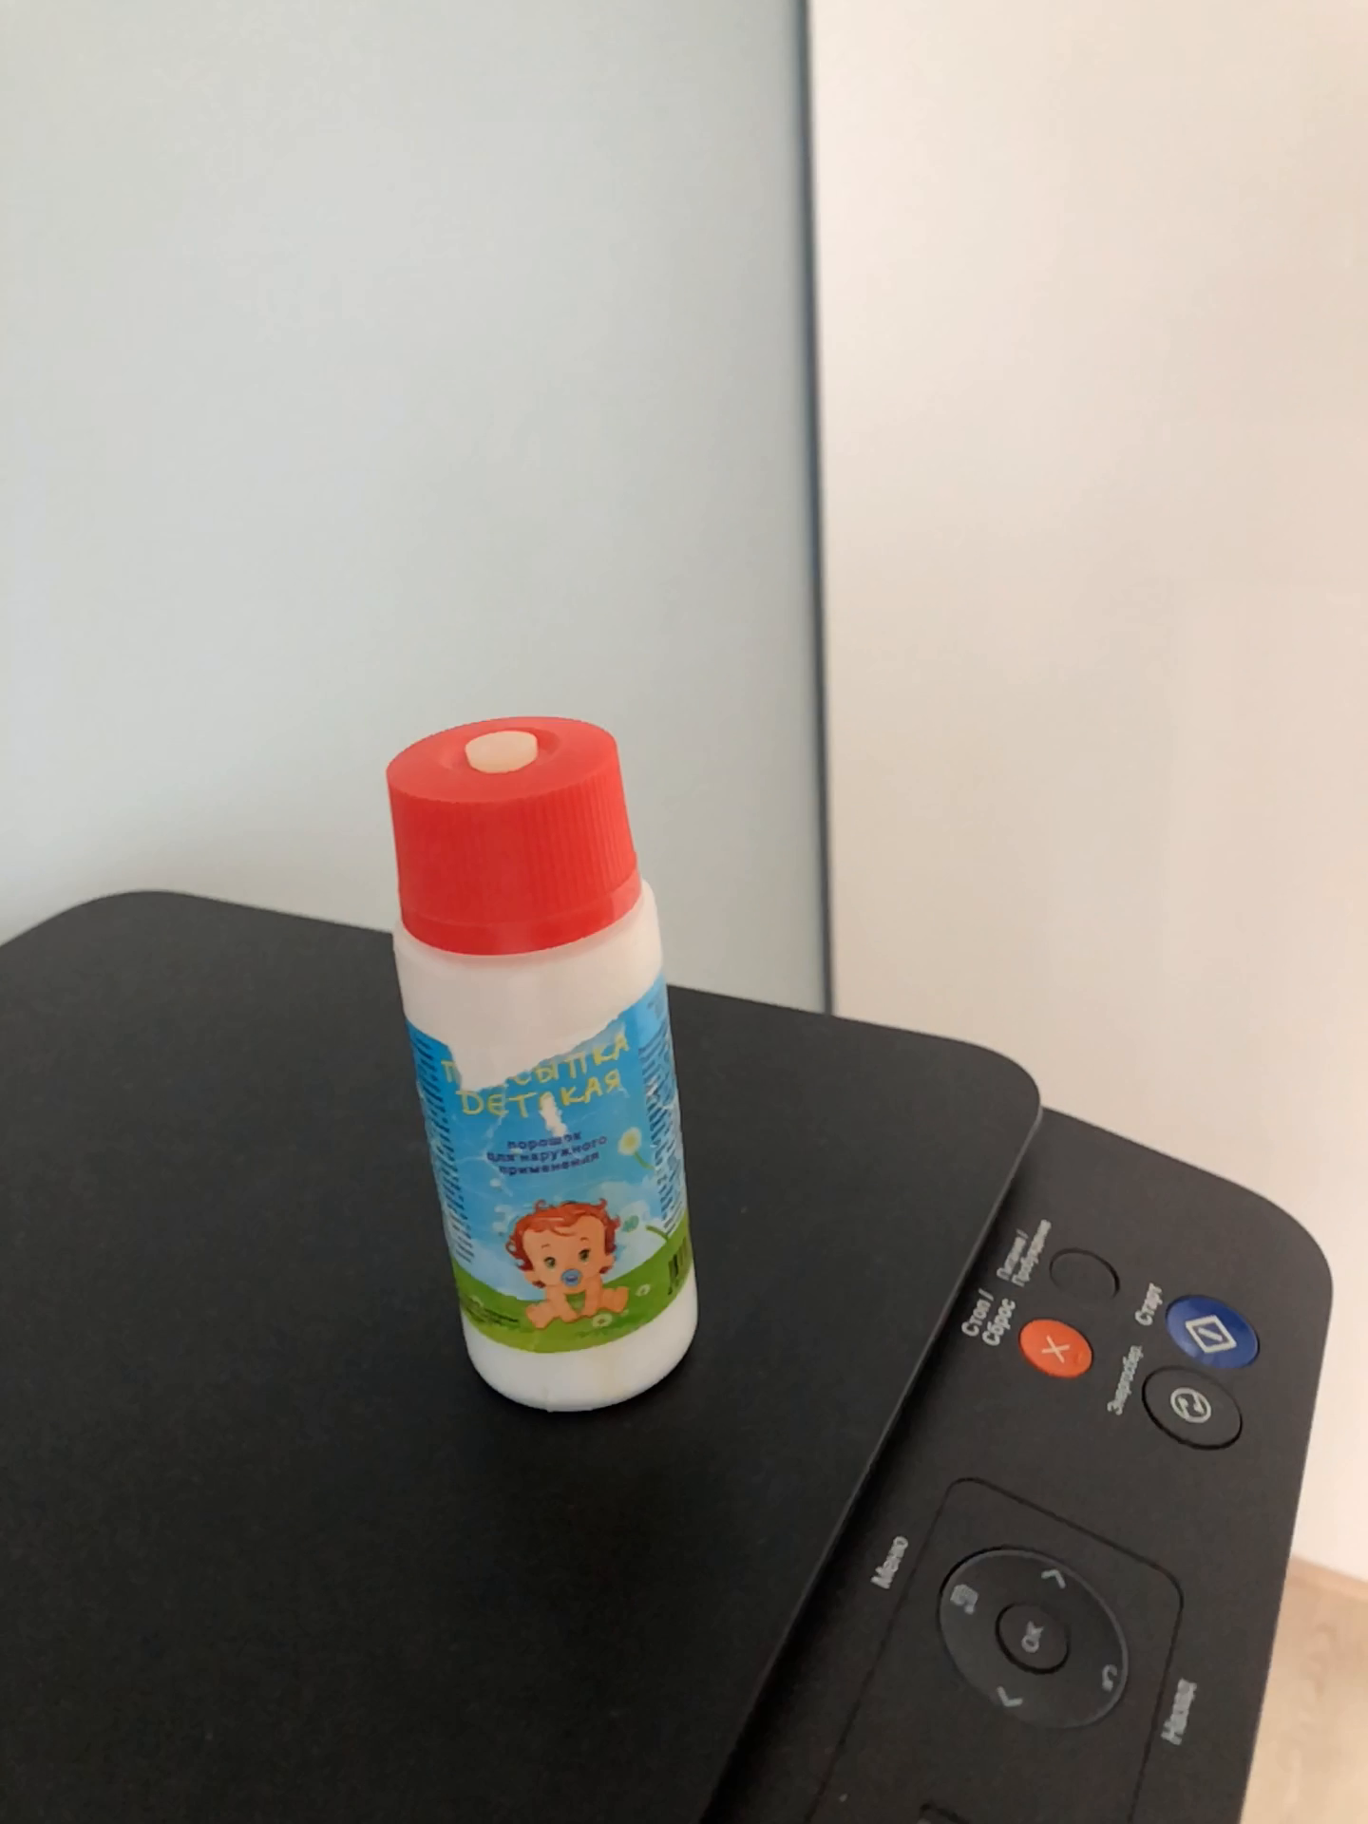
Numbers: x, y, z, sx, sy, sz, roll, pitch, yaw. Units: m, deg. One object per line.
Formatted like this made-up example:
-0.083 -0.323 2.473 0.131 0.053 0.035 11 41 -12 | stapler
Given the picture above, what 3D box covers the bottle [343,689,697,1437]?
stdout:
-0.024 0.026 0.251 0.042 0.112 0.044 -3 26 1 | bottle
